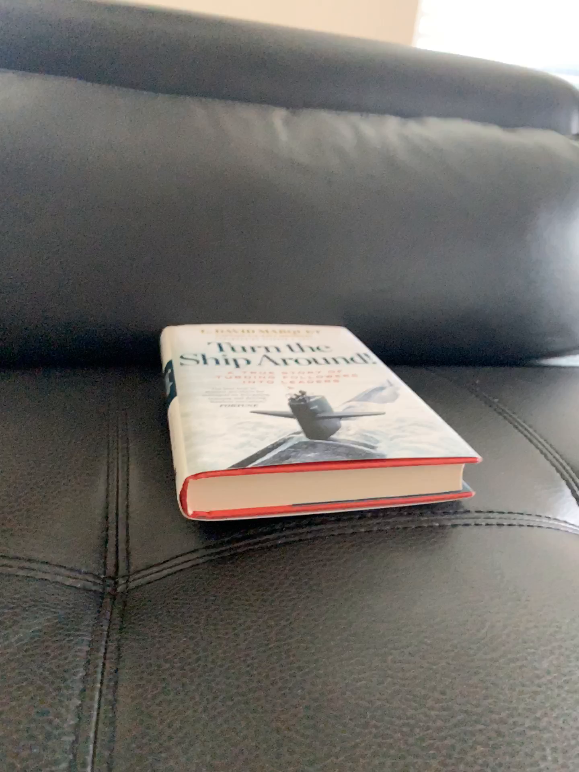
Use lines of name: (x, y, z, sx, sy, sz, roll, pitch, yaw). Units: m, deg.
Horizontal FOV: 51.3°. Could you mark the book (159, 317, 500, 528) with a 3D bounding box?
book: (0.000, 0.003, 0.376, 0.152, 0.029, 0.227, -1, 23, -14)
